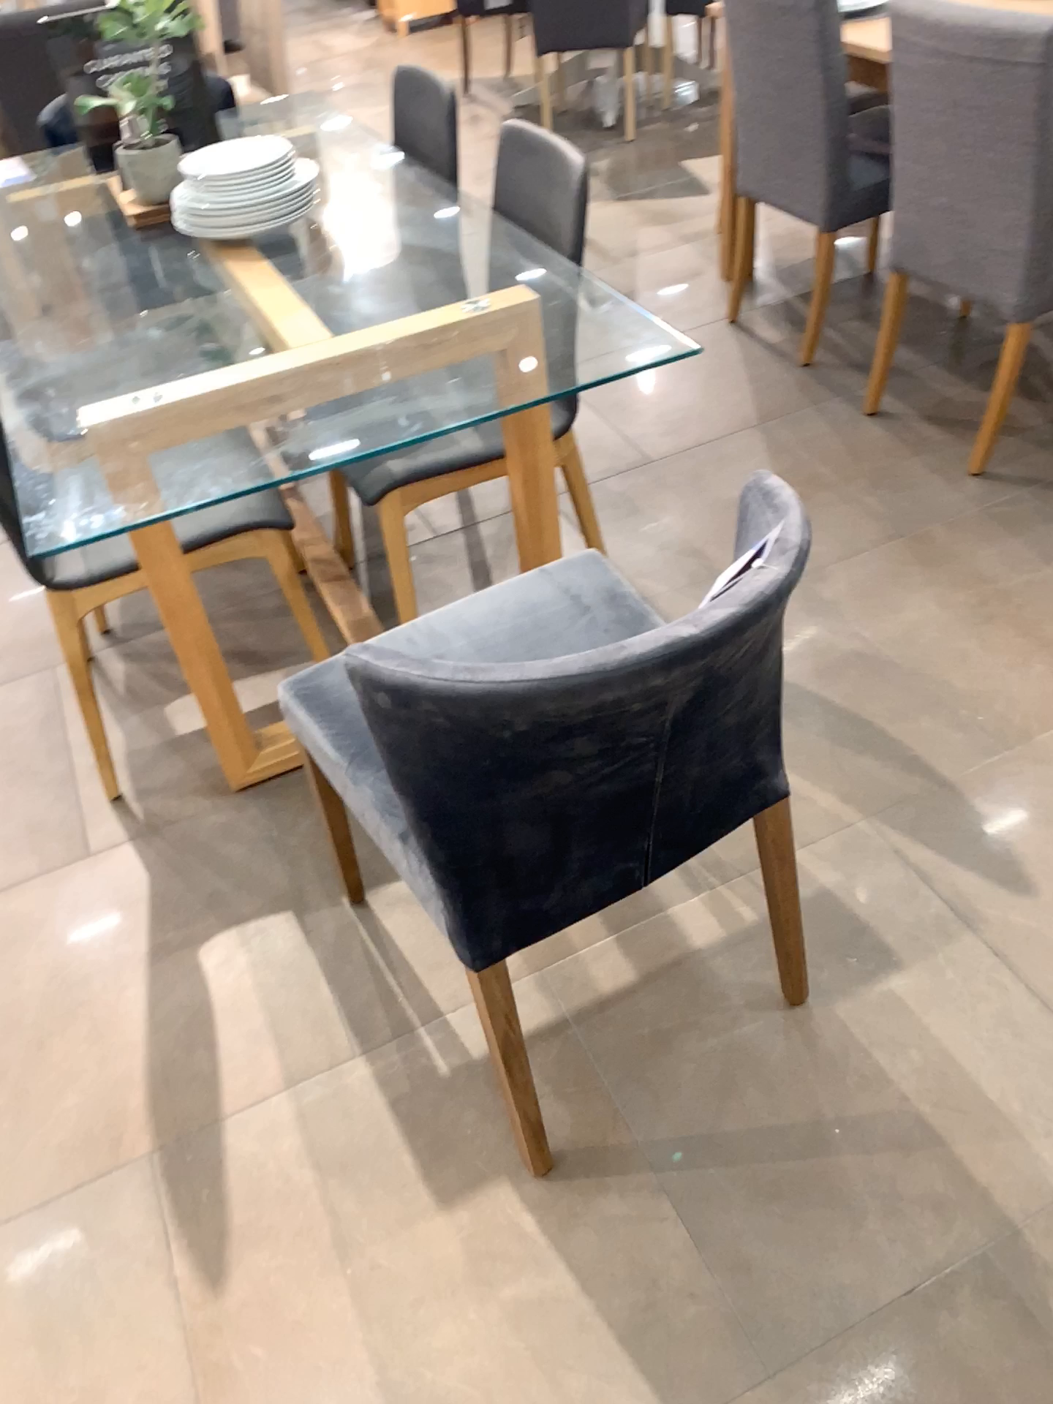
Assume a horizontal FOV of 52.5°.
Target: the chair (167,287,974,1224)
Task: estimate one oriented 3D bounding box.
[{"bbox_3d":[0.036,0.052,1.327,0.578,0.805,0.618,-23,44,-17],"label":"chair"}]
